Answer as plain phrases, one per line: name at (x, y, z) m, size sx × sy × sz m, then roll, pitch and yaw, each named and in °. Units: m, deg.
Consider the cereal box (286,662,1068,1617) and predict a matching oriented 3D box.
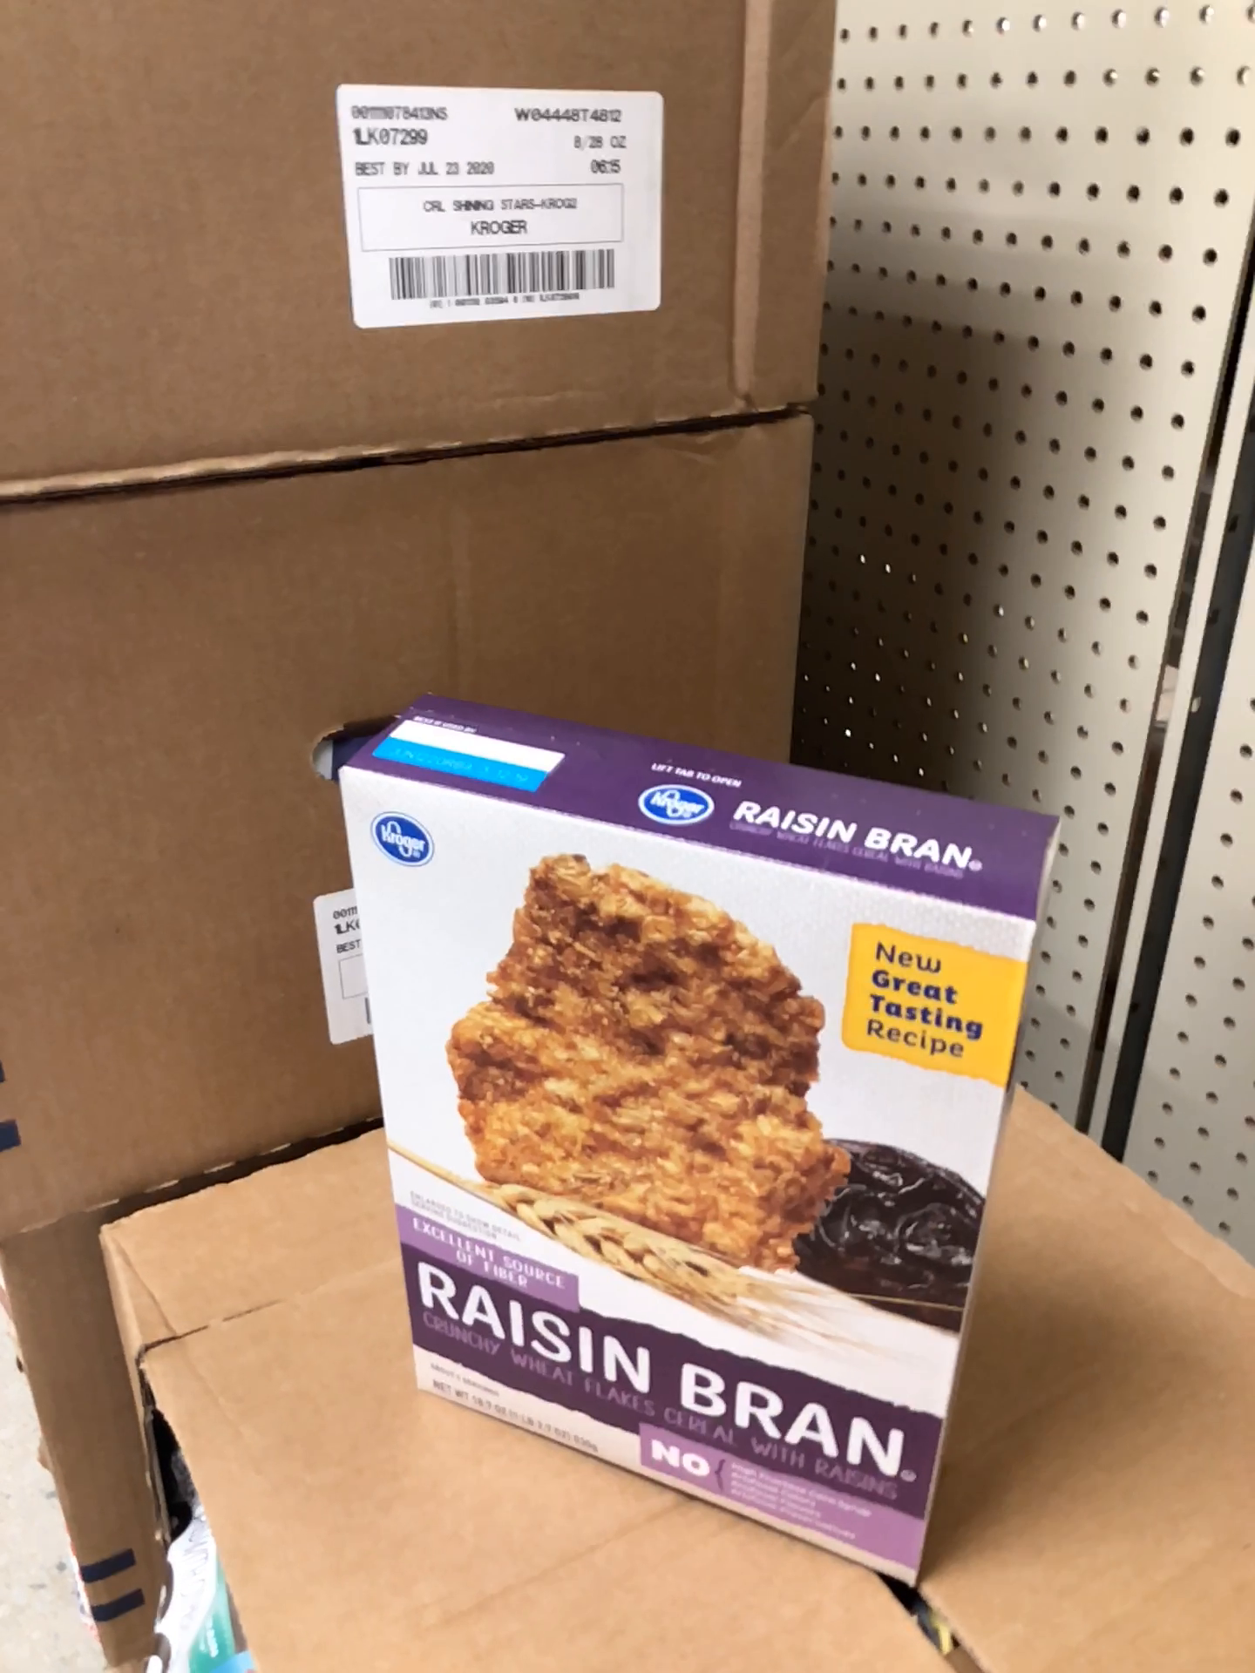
cereal box at (0.014, 0.098, 0.418) m, size 0.190 × 0.279 × 0.050 m, roll 12°, pitch 35°, yaw 22°
